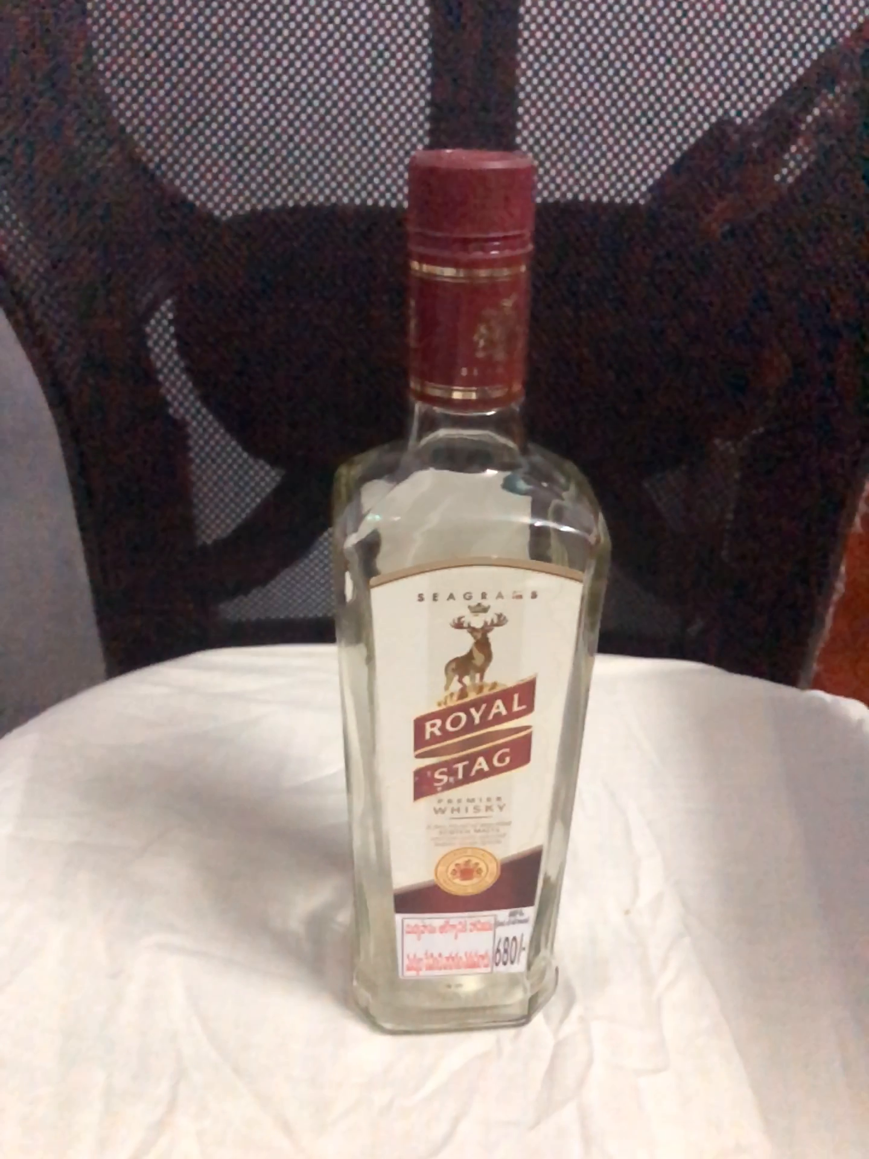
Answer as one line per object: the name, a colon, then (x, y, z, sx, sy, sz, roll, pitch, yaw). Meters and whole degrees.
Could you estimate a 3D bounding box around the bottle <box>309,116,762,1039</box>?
bottle: (0.013, 0.022, 0.287, 0.090, 0.279, 0.060, 1, 31, -4)
